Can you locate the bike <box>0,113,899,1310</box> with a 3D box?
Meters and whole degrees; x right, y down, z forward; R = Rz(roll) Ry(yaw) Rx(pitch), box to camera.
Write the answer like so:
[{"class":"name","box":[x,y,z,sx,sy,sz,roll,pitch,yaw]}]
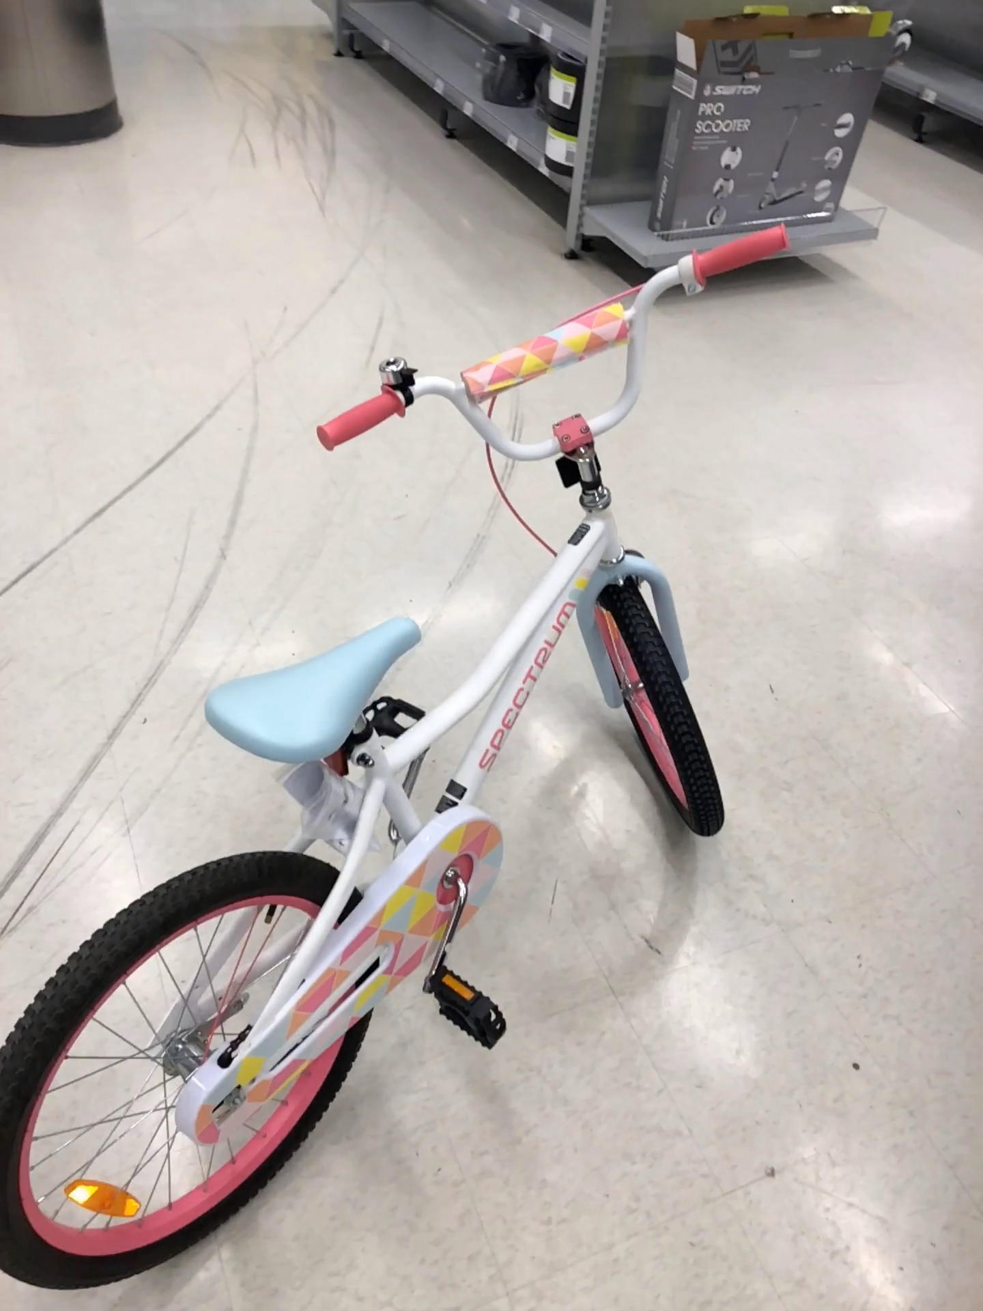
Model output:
[{"class":"bike","box":[-0.146,0.049,1.287,0.632,0.961,1.257,27,45,22]}]
